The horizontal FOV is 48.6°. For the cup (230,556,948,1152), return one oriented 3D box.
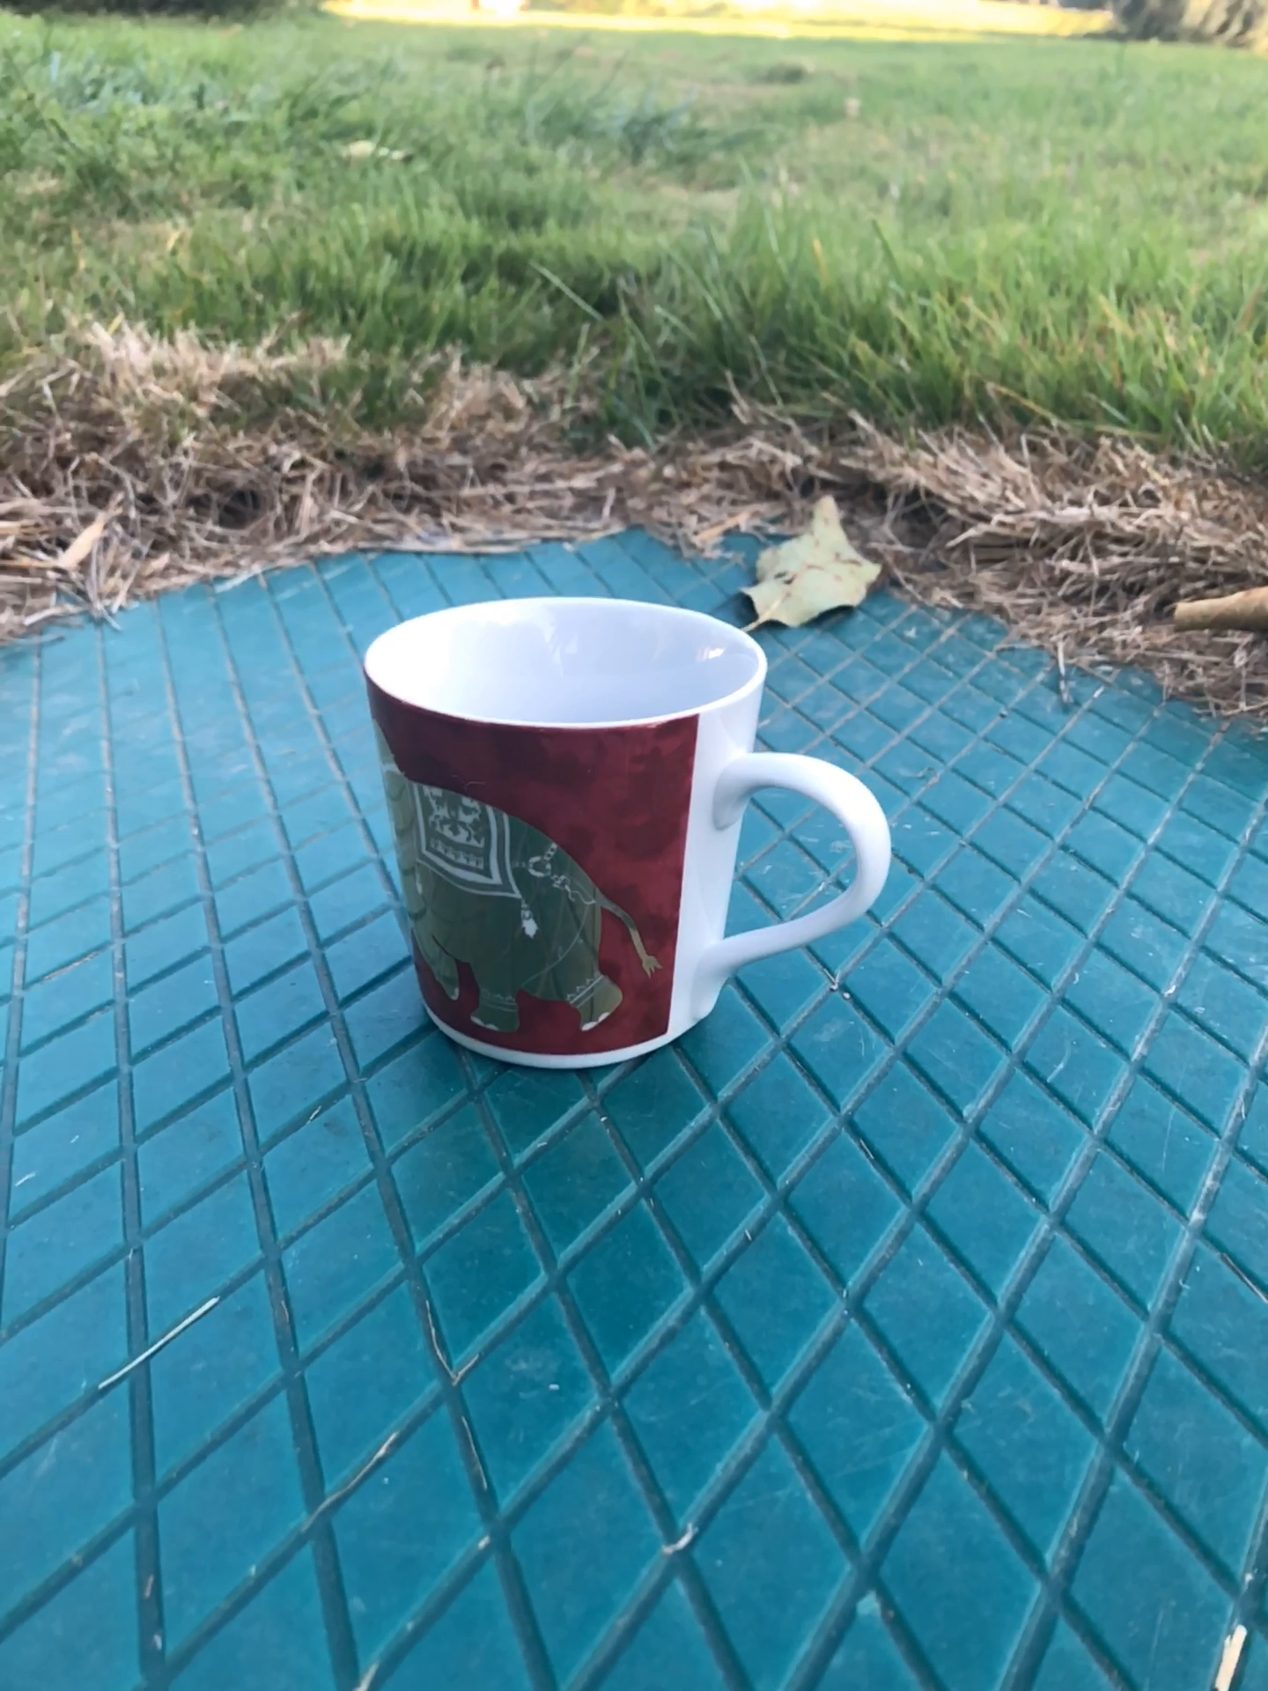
[{"bbox_3d":[-0.007,-0.007,0.282,0.110,0.070,0.082,15,29,27],"label":"cup"}]
